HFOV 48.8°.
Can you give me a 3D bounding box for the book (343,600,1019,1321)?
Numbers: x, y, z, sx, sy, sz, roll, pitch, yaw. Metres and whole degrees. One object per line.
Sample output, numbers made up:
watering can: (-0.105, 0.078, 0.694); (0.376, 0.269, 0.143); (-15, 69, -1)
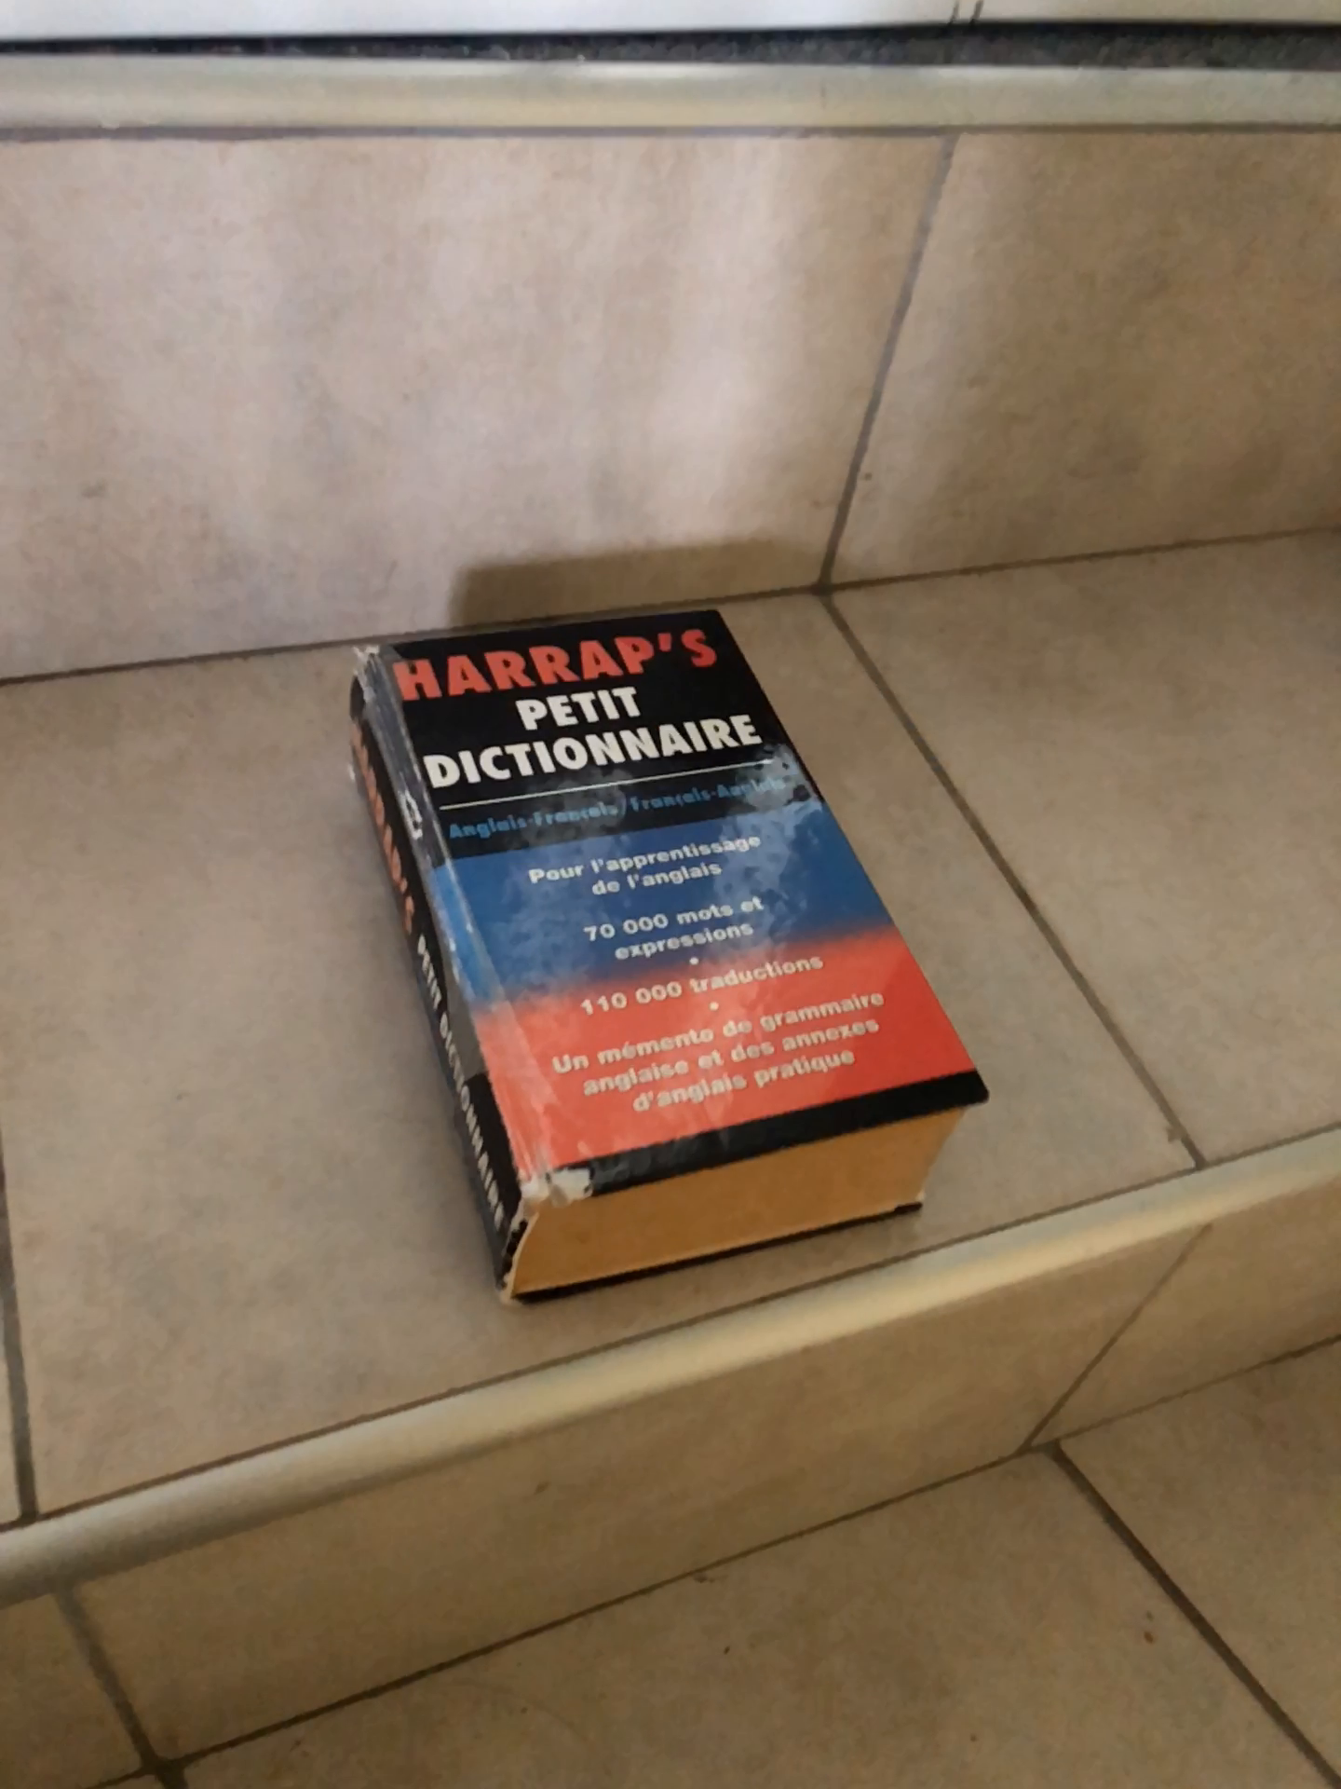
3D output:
book: (-0.009, 0.004, 0.395); (0.118, 0.050, 0.186); (-10, 50, -19)
